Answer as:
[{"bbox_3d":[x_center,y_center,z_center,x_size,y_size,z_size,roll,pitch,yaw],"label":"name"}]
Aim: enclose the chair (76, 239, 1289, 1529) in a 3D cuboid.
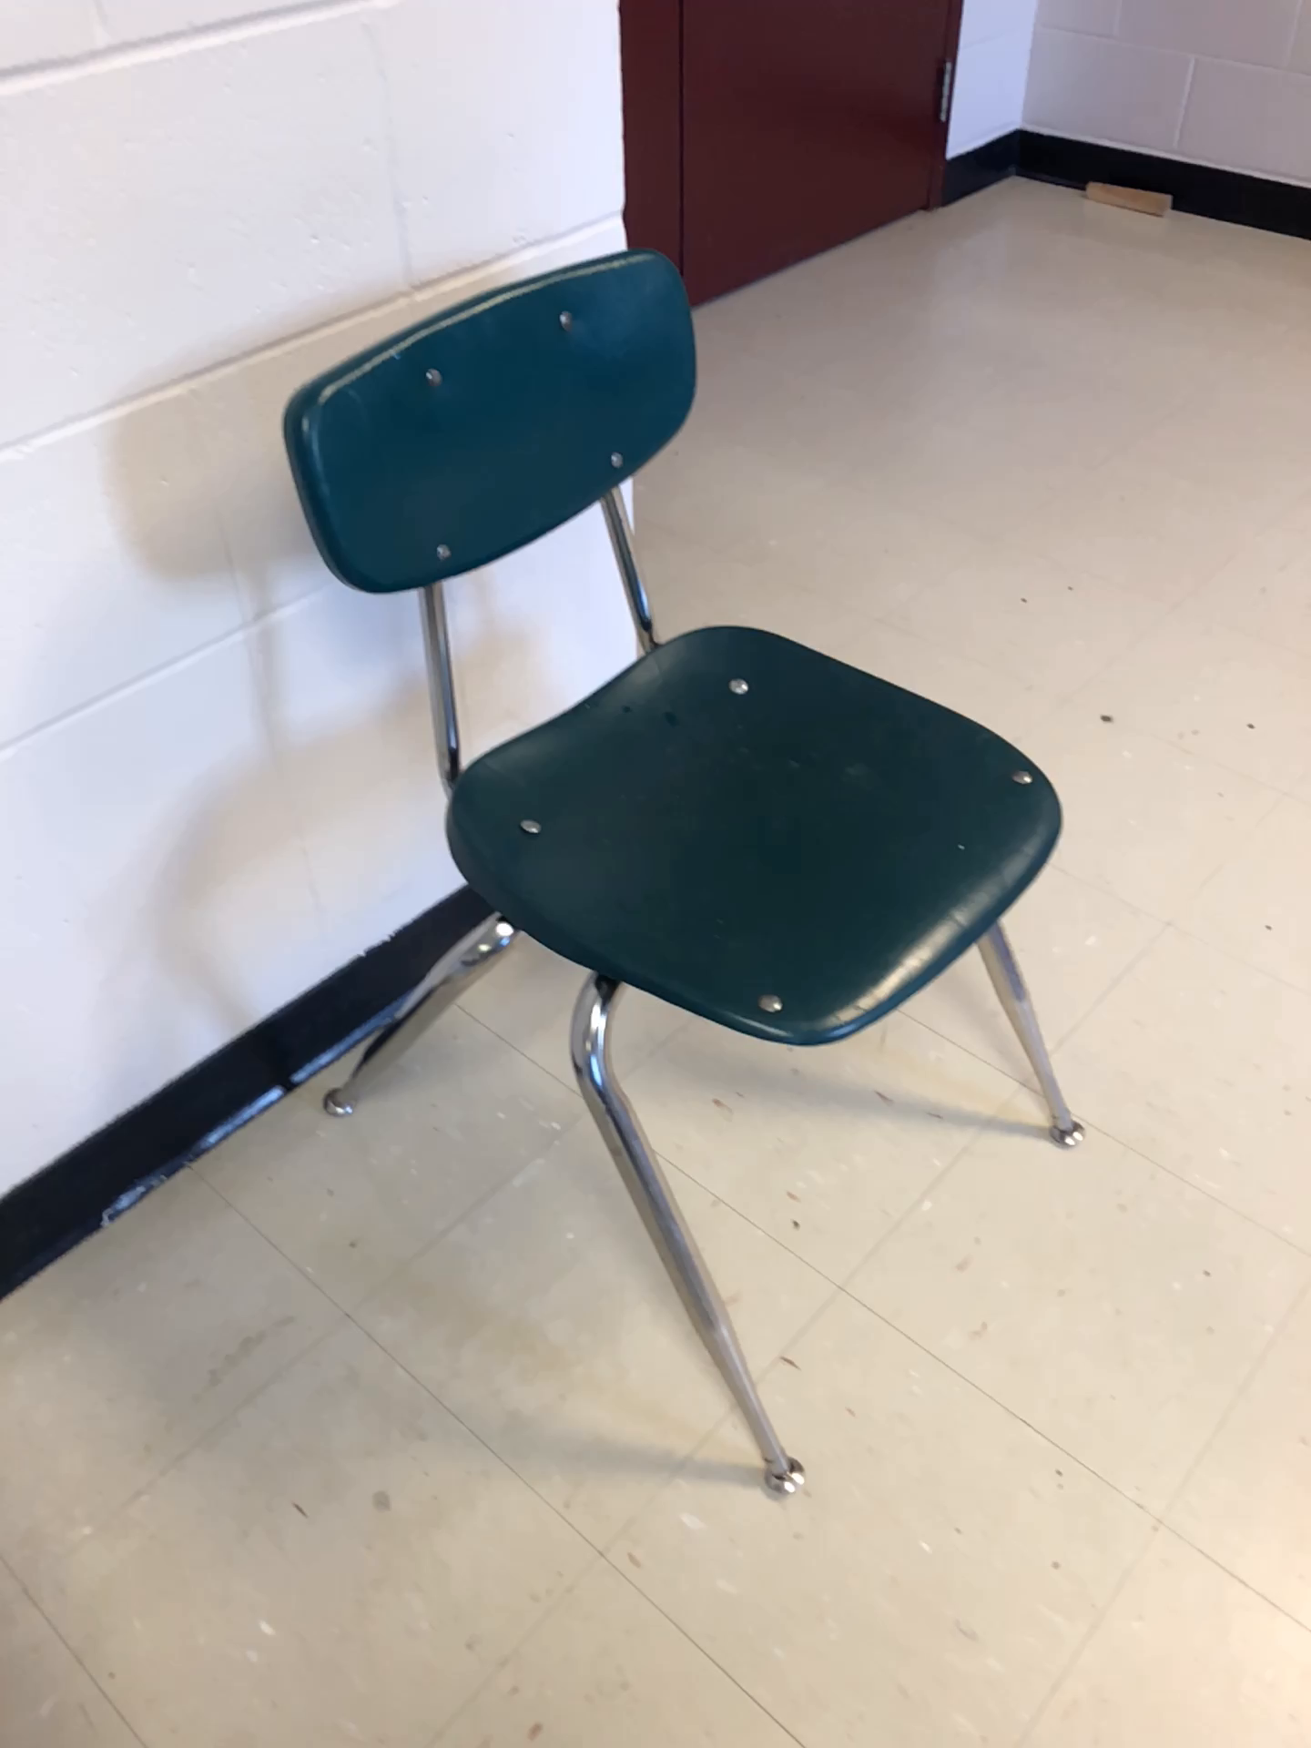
[{"bbox_3d":[0.022,-0.014,1.127,0.592,0.695,0.482,29,51,30],"label":"chair"}]
